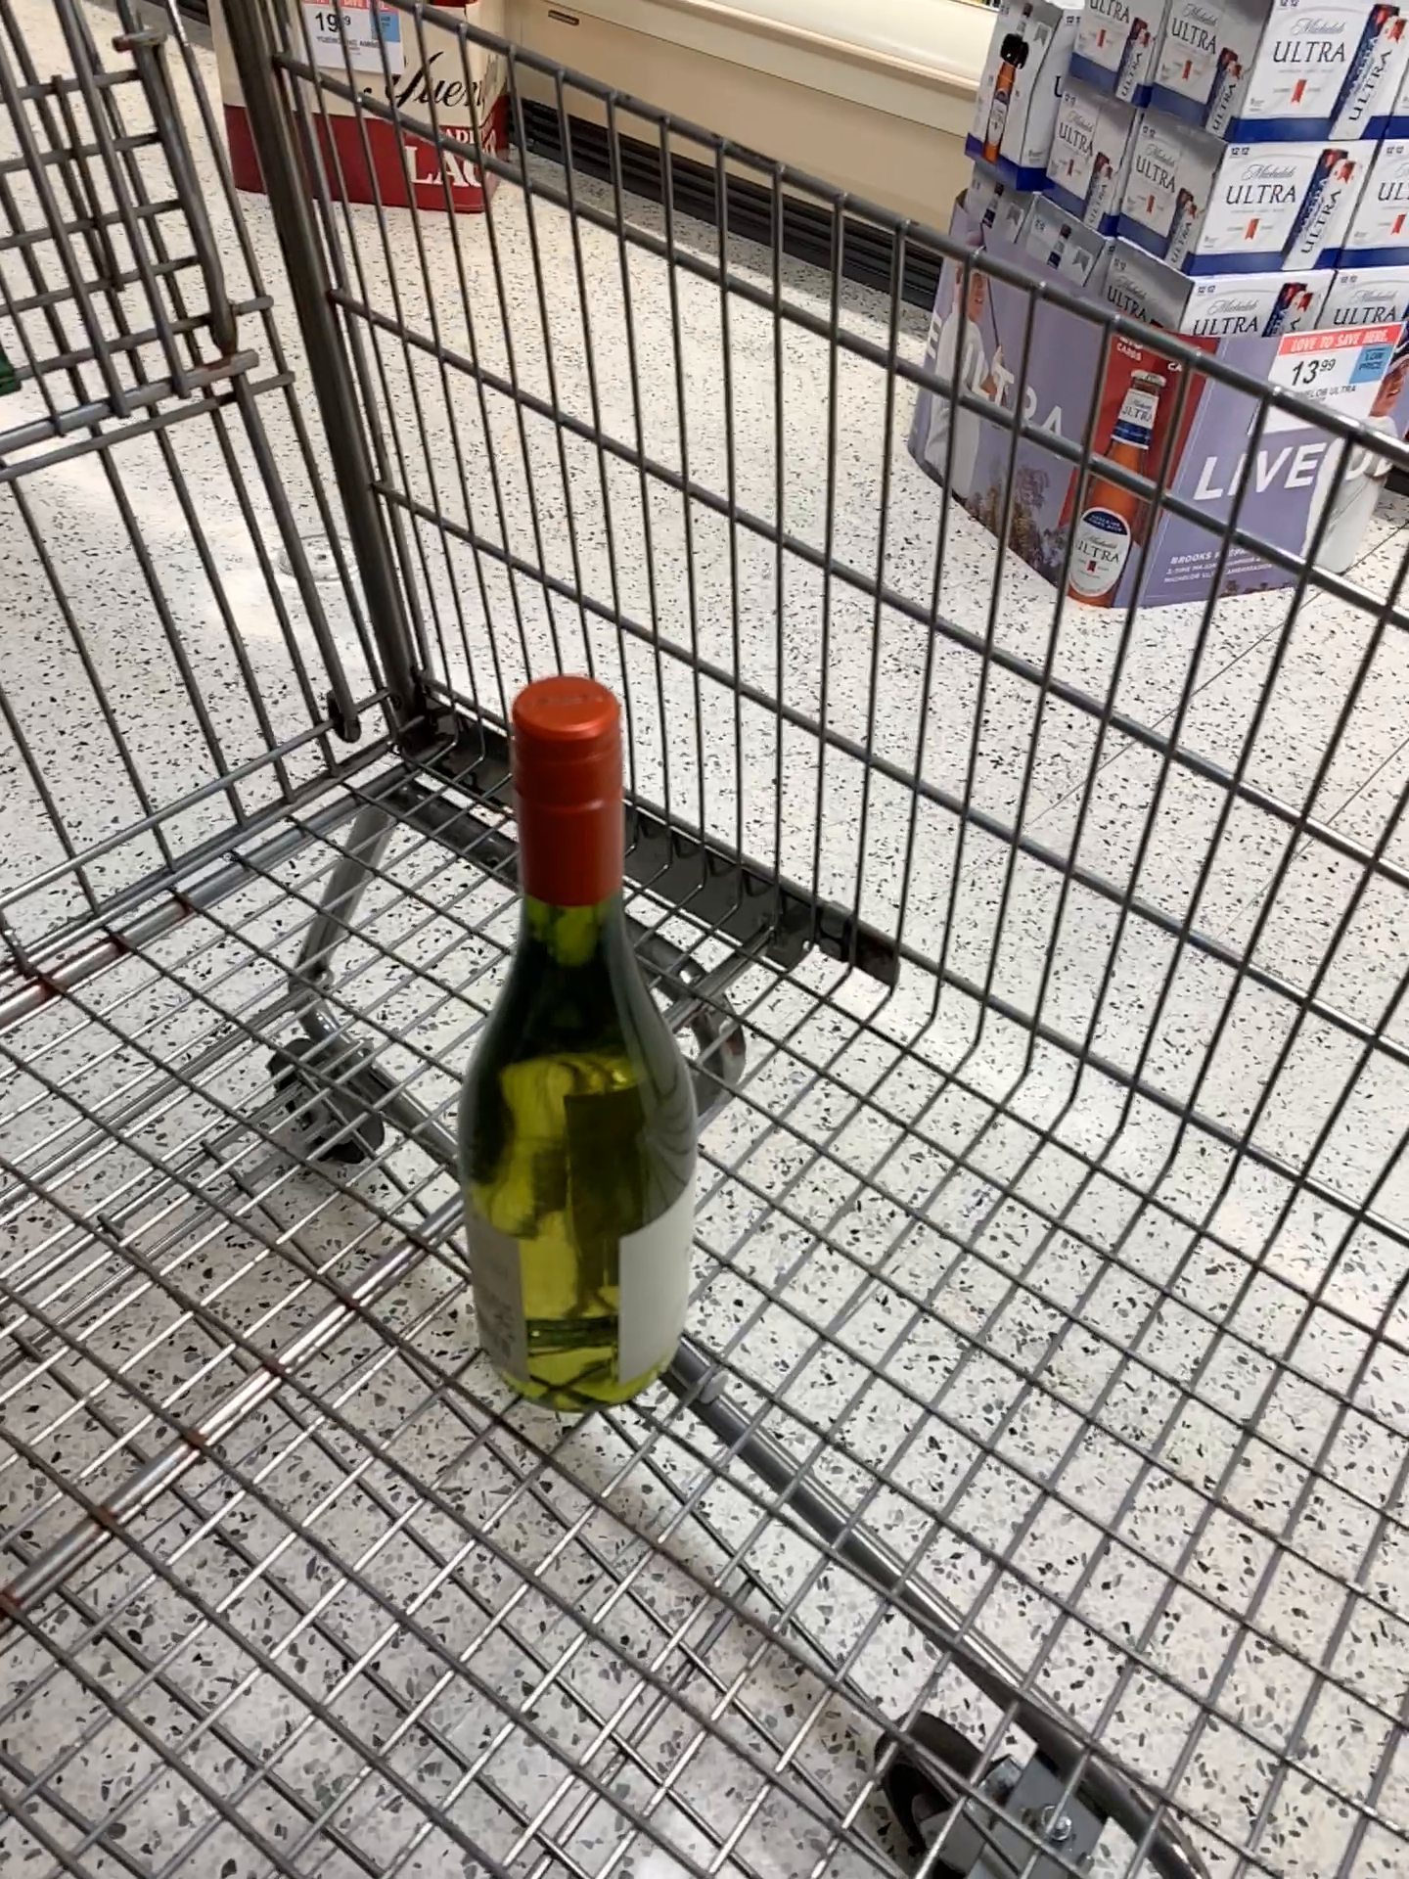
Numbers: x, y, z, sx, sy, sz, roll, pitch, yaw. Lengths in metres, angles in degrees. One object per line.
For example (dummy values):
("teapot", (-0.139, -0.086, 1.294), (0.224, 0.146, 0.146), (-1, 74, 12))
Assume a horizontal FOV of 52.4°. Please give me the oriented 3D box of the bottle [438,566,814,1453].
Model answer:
("bottle", (-0.036, 0.041, 0.447), (0.080, 0.297, 0.091), (-3, 44, -11))
